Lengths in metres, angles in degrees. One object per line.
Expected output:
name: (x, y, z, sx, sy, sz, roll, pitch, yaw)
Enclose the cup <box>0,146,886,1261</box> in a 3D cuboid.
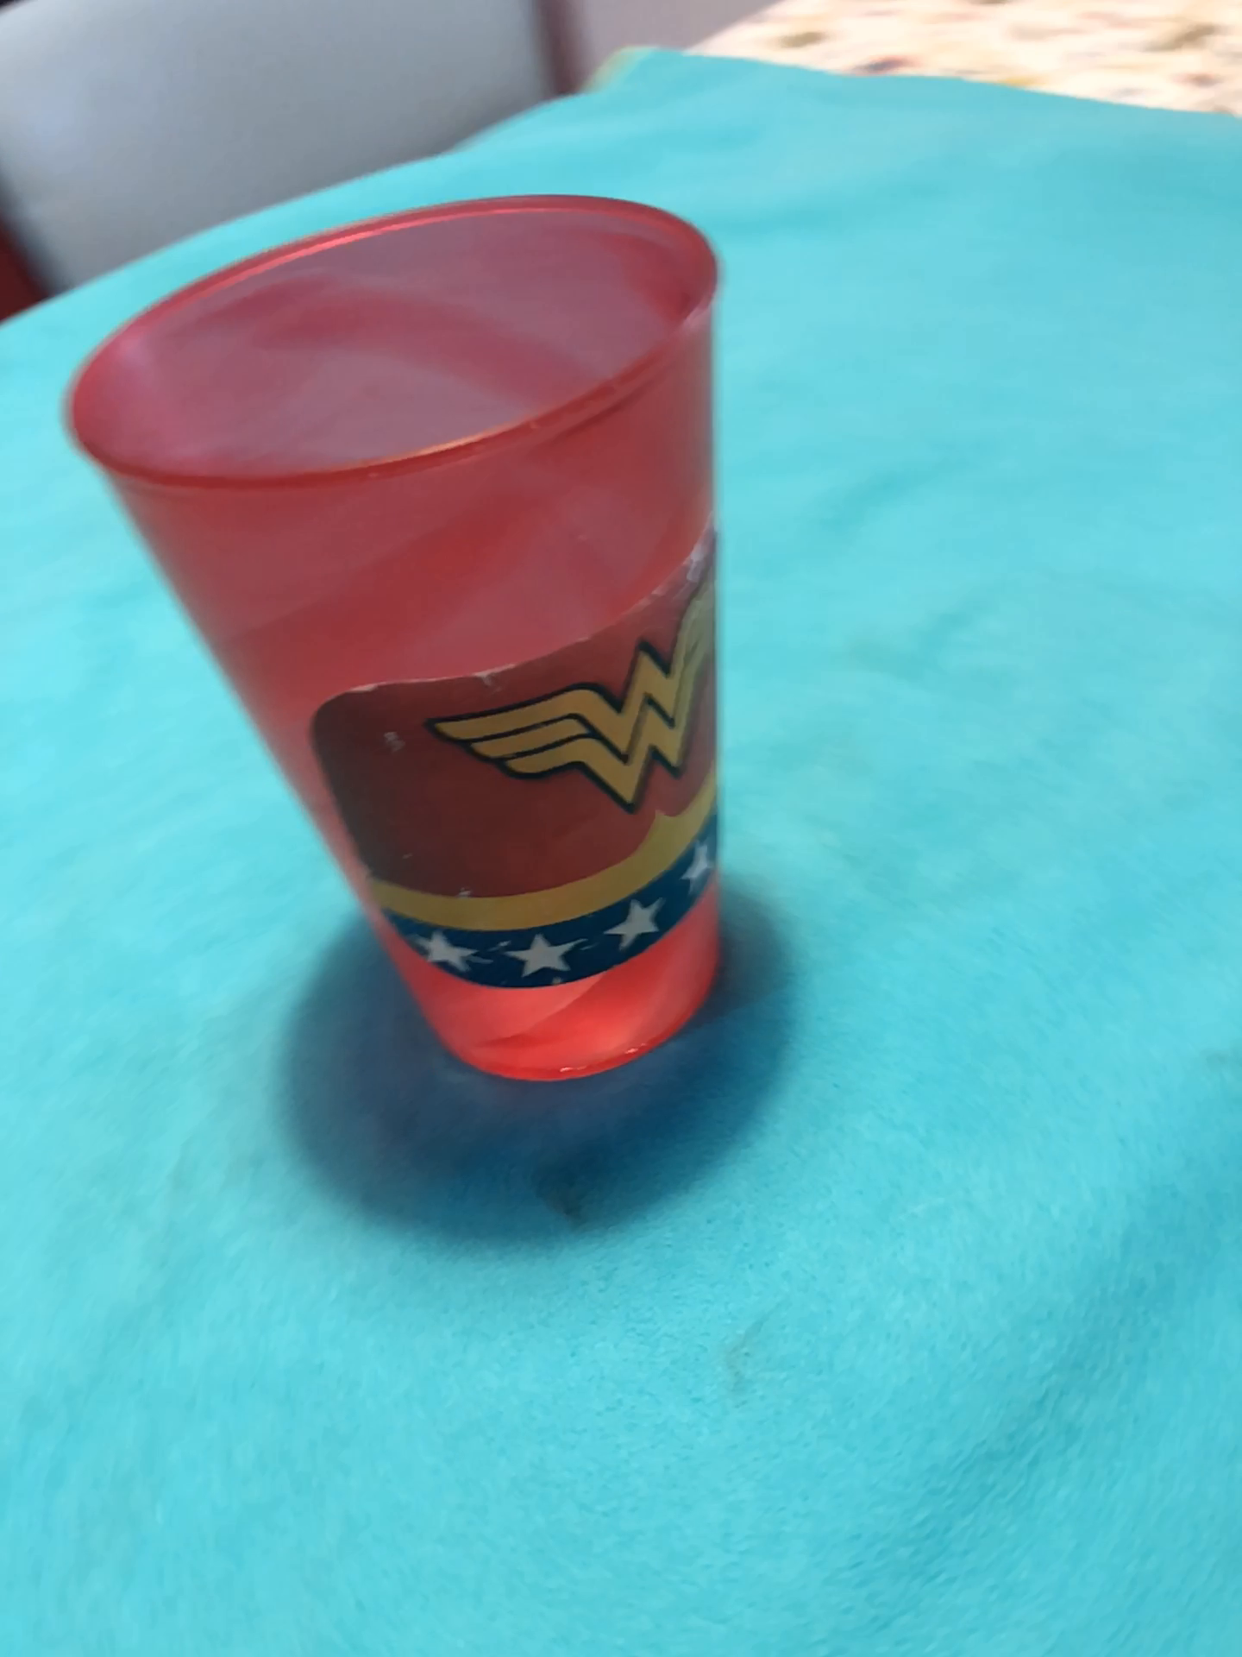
cup: (-0.028, -0.023, 0.205, 0.090, 0.109, 0.090, -7, 42, 6)
